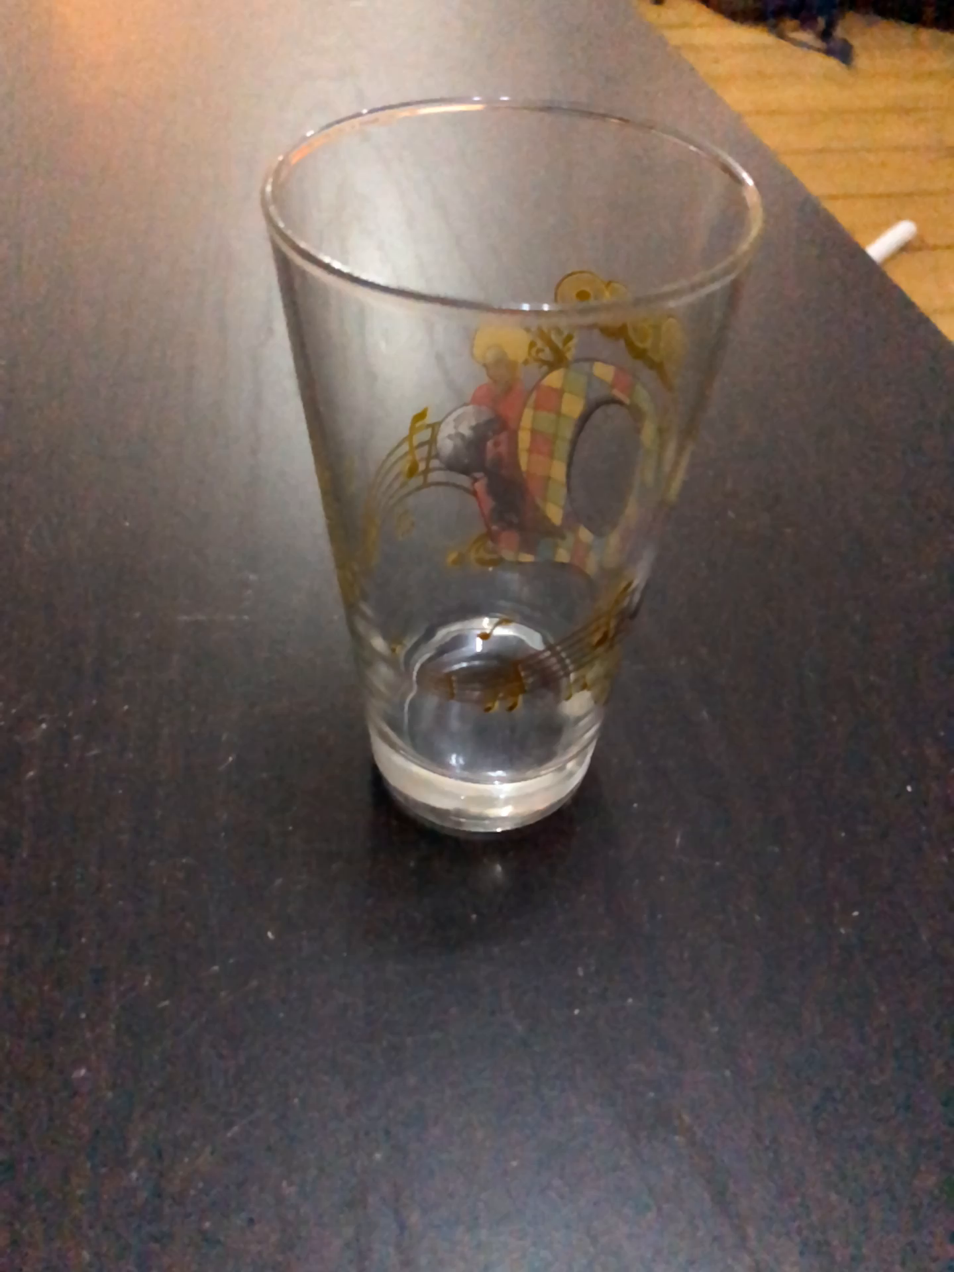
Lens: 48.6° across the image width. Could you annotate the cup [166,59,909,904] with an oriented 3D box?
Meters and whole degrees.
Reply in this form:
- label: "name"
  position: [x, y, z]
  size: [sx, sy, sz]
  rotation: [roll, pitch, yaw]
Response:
- label: "cup"
  position: [0.010, -0.029, 0.196]
  size: [0.080, 0.109, 0.080]
  rotation: [2, 45, -2]
